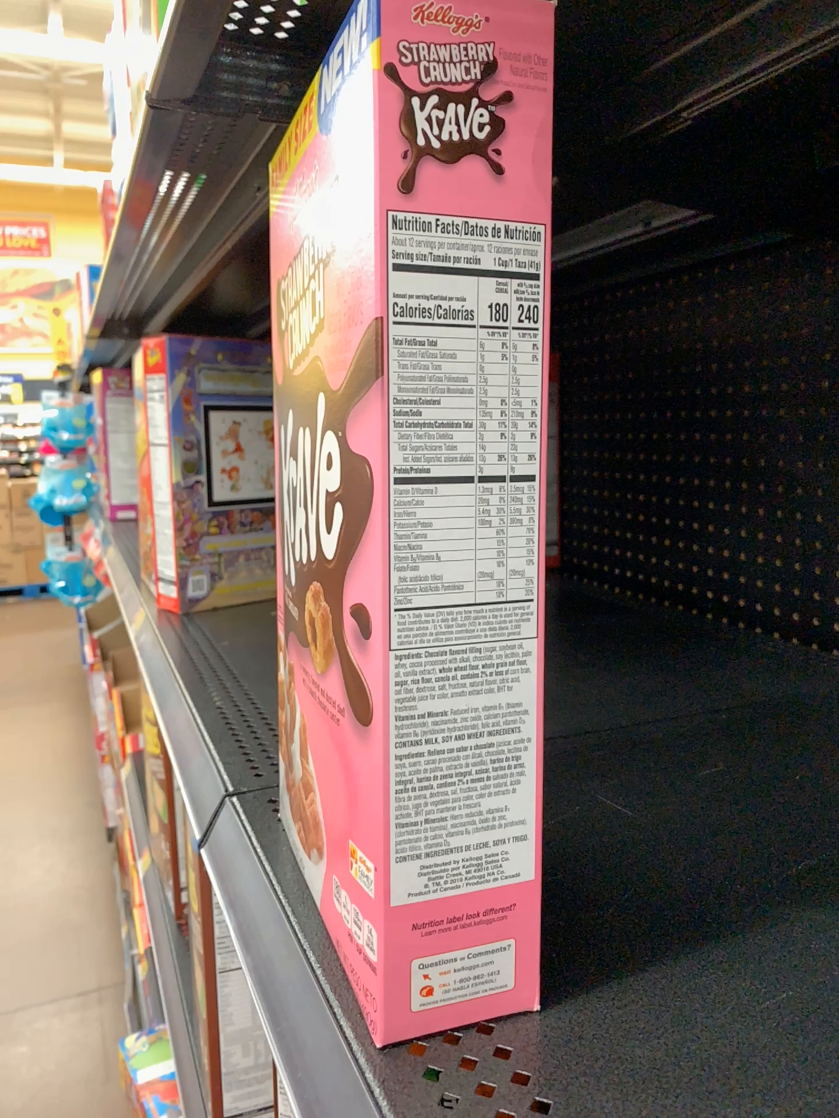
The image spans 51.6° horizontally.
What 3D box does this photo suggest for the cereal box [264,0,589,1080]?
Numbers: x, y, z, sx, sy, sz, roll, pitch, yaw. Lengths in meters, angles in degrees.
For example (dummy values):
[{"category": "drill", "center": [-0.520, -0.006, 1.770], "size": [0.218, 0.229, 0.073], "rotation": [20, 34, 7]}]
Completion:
[{"category": "cereal box", "center": [-0.016, -0.018, 0.349], "size": [0.060, 0.329, 0.200], "rotation": [-2, 8, -19]}]
